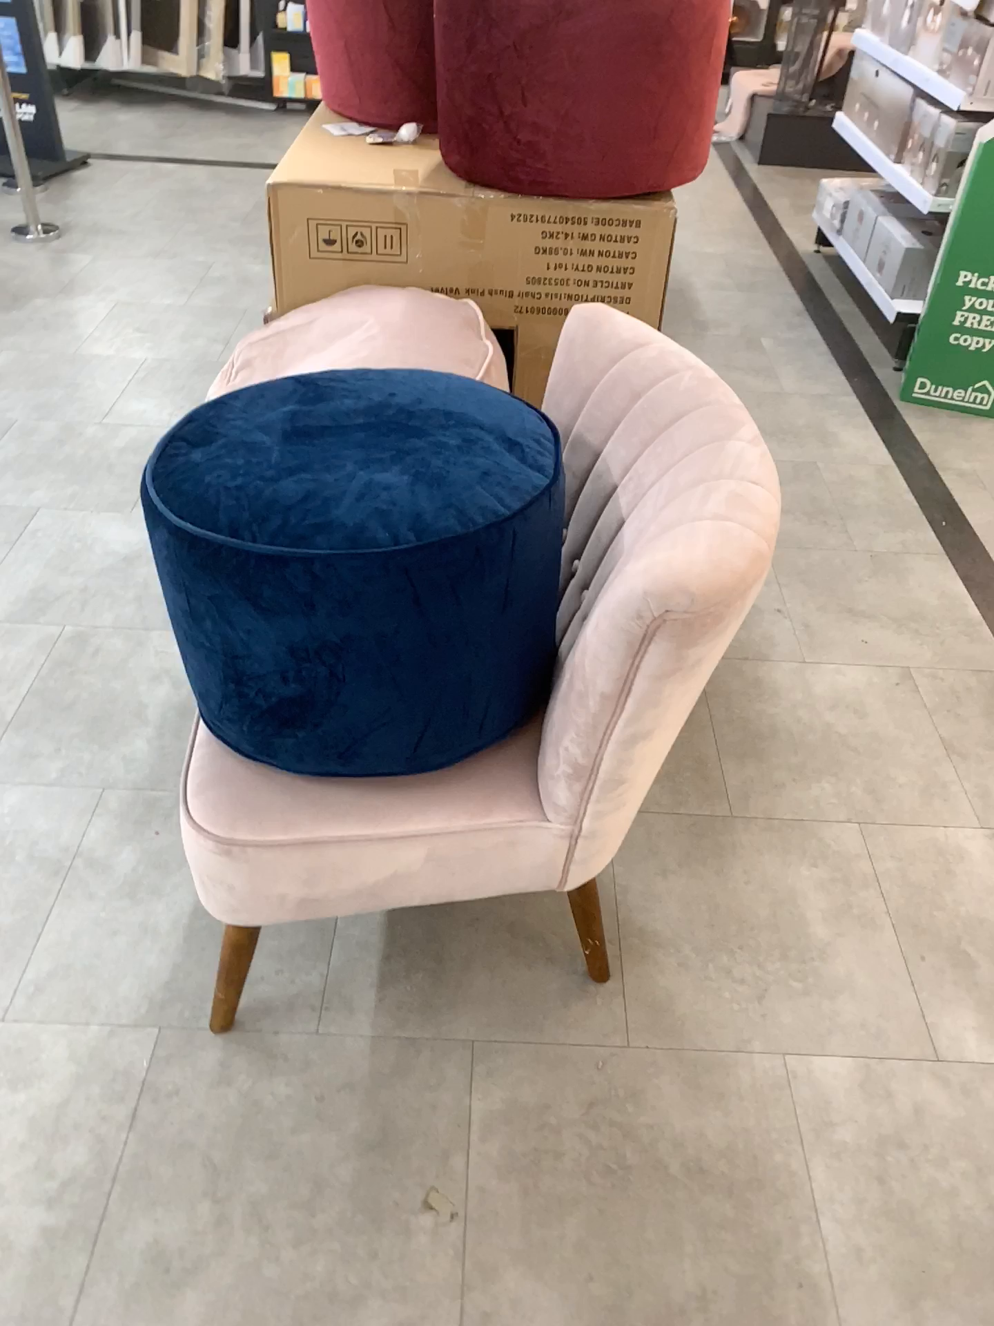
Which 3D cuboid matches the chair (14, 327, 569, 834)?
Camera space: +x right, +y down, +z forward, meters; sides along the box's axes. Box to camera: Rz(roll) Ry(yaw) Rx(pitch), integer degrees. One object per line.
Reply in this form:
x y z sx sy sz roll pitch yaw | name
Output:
-0.182 -0.117 1.210 0.504 0.363 0.479 4 39 1 | chair

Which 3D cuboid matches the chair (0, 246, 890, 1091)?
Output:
-0.076 0.016 1.319 0.744 0.848 0.661 2 39 -1 | chair
